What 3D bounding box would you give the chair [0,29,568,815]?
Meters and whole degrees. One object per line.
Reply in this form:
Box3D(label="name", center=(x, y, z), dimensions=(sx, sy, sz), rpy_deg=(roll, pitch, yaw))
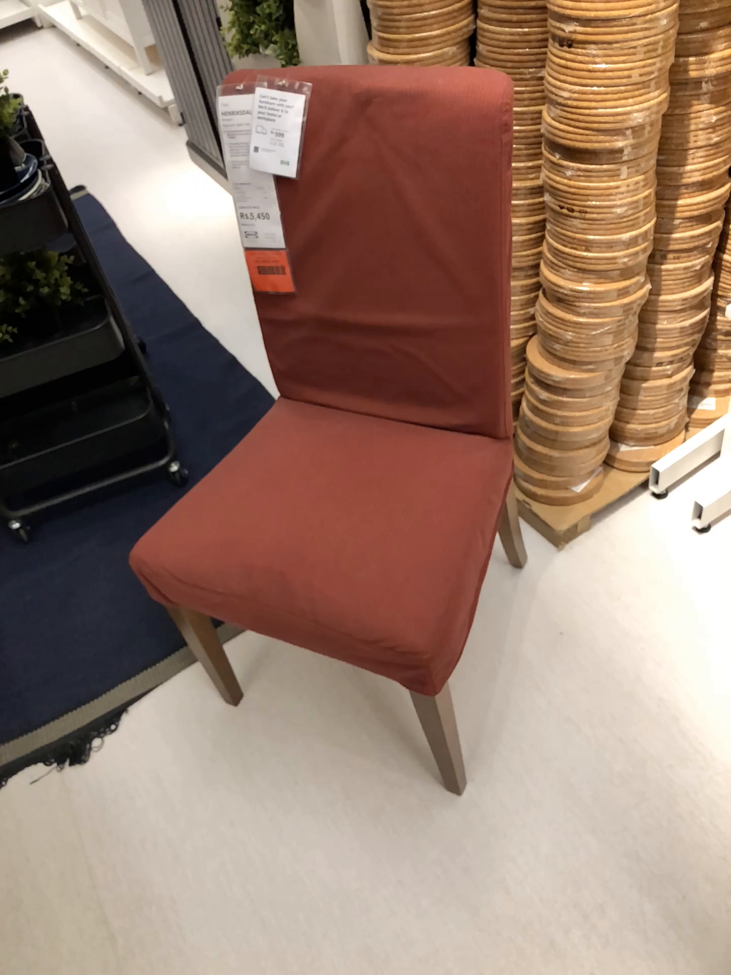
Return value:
Box3D(label="chair", center=(-0.031, -0.048, 1.225), dimensions=(0.521, 0.994, 0.532), rpy_deg=(14, 52, 26))
